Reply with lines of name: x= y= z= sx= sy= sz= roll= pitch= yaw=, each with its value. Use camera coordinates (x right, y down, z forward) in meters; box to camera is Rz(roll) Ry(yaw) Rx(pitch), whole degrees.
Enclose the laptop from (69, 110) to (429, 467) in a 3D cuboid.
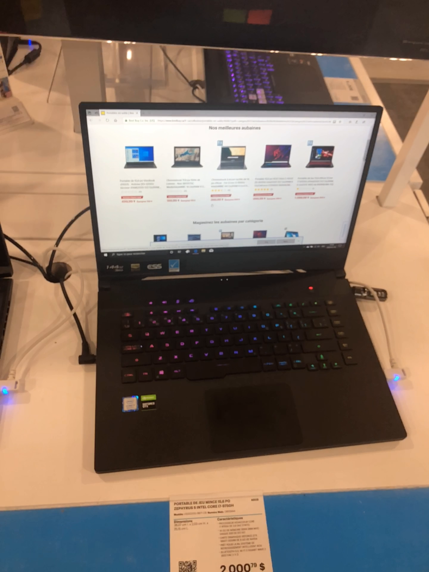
laptop: x=0.042 y=-0.010 z=0.522 sx=0.340 sy=0.207 sz=0.316 roll=-2 pitch=52 yaw=-7
